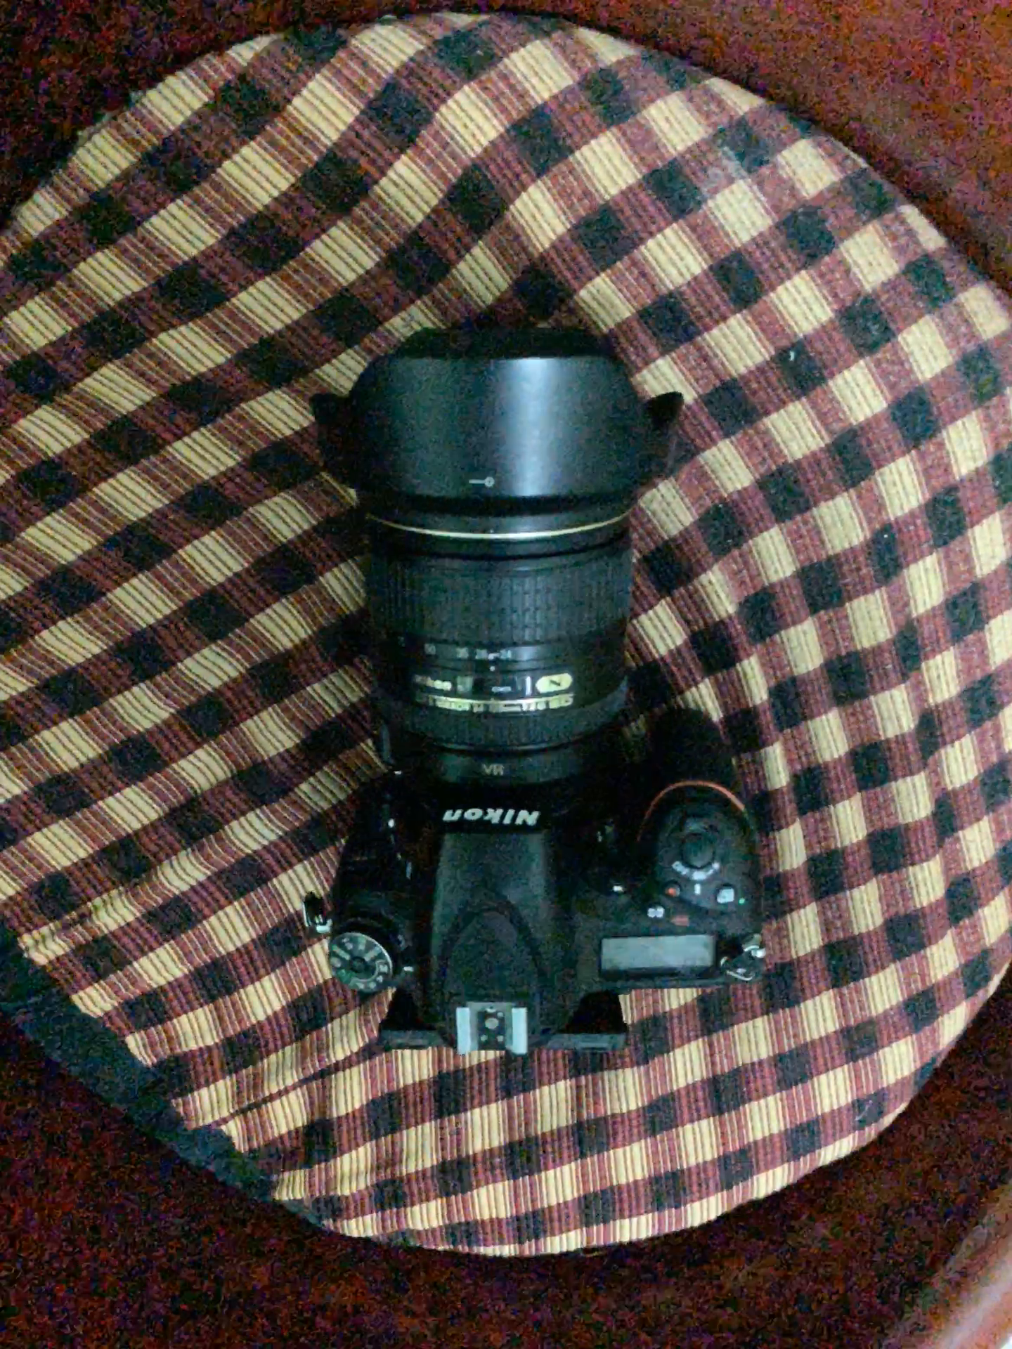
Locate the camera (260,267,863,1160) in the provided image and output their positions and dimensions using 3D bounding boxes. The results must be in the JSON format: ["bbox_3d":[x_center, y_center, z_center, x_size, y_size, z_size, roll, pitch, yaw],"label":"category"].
[{"bbox_3d":[0.015,0.010,0.326,0.140,0.101,0.250,1,107,4],"label":"camera"}]
